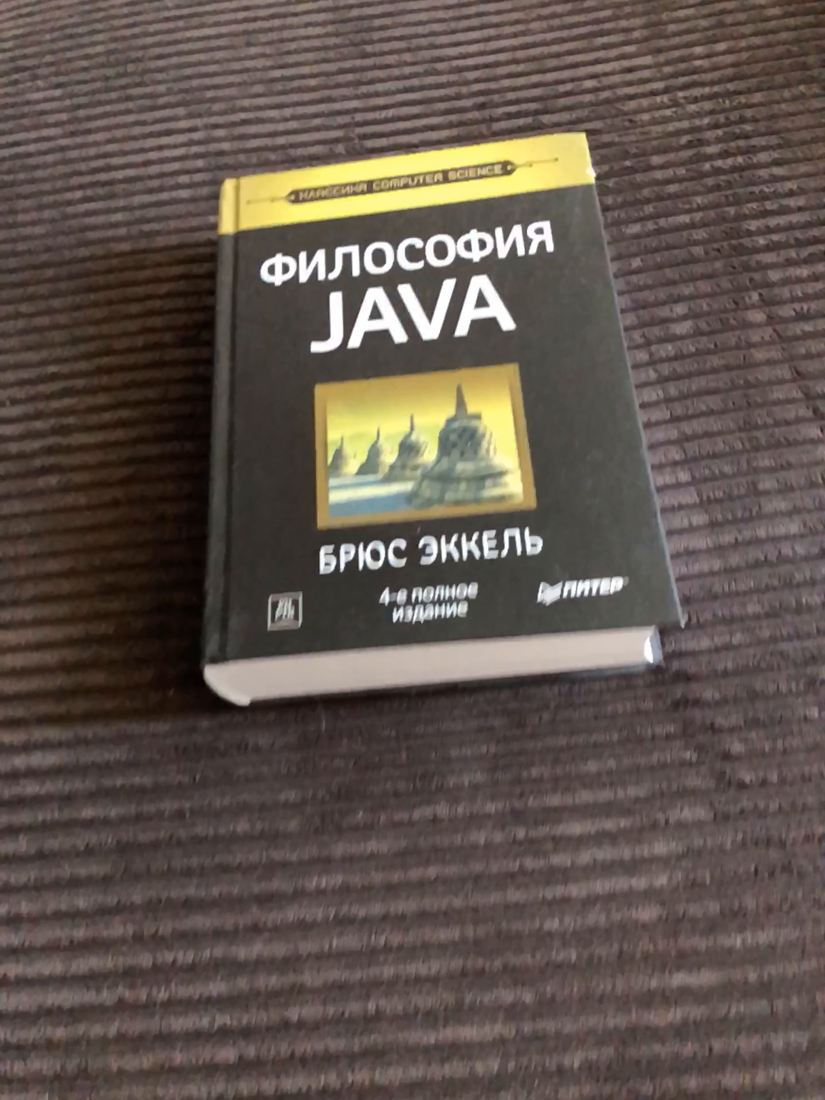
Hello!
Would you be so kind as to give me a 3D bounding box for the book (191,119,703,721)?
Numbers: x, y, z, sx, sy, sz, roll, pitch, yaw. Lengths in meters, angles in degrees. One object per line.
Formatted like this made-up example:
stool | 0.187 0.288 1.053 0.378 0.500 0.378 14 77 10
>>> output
book | 0.005 -0.061 0.381 0.171 0.060 0.240 -6 65 3
